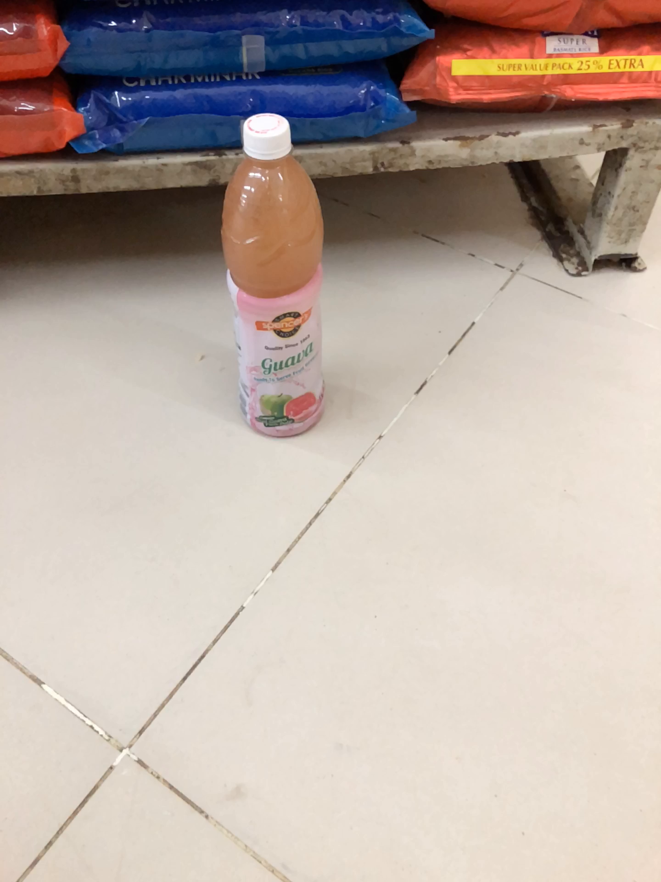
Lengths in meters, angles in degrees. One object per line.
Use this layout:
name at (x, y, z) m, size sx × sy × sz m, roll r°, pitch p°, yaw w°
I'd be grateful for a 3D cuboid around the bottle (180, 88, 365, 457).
bottle at (-0.037, -0.113, 0.561) m, size 0.090 × 0.258 × 0.090 m, roll 0°, pitch 52°, yaw 0°
